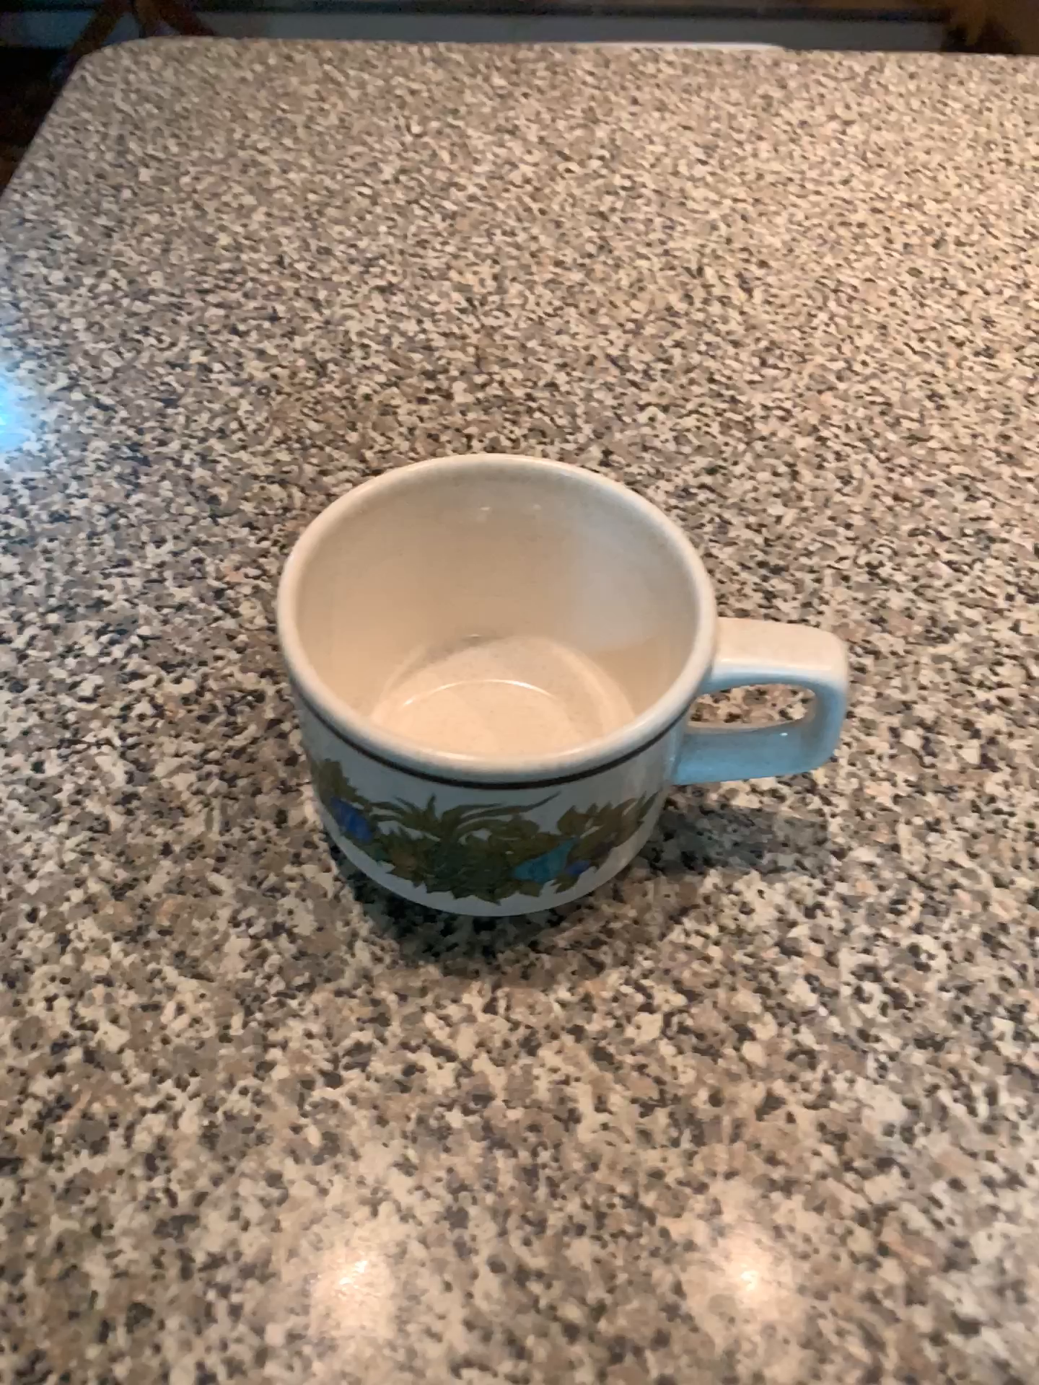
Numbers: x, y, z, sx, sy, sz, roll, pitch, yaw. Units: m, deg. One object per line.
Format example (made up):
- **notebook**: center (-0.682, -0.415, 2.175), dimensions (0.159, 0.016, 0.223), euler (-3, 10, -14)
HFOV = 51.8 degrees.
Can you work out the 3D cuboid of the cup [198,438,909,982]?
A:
- **cup**: center (0.008, 0.002, 0.223), dimensions (0.117, 0.054, 0.088), euler (6, 51, 2)
